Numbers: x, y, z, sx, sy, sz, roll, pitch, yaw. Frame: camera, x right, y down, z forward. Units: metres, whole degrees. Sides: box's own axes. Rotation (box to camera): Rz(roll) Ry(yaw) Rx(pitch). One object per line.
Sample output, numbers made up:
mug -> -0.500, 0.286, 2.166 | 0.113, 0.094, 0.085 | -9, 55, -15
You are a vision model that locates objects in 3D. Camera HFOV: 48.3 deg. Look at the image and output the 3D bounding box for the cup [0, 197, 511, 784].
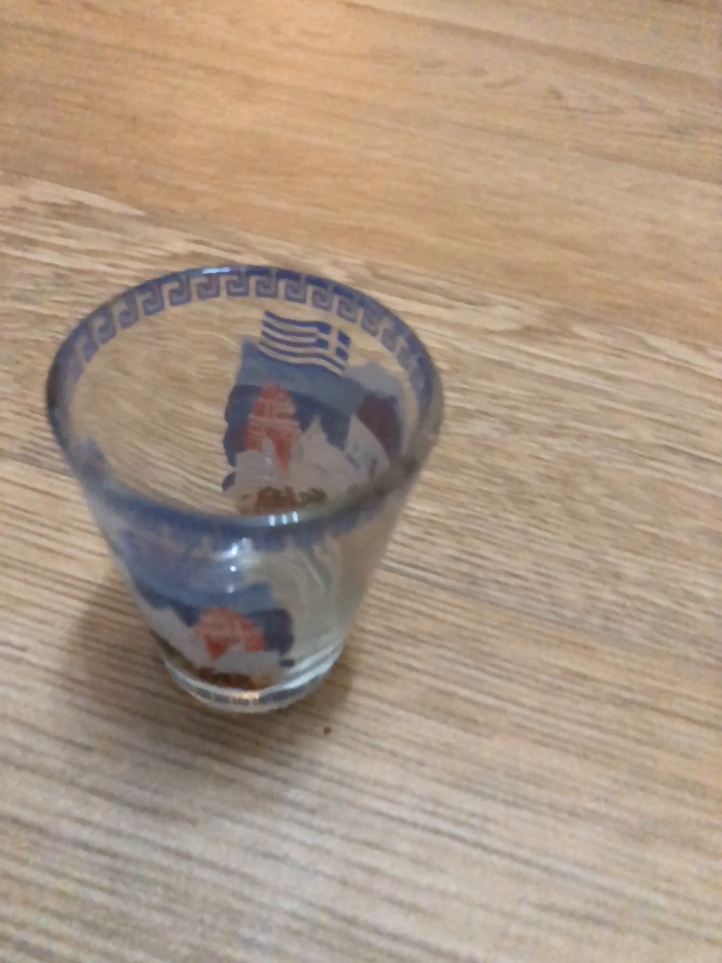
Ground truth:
cup -> -0.013, 0.002, 0.122 | 0.050, 0.060, 0.050 | 4, 47, -4
